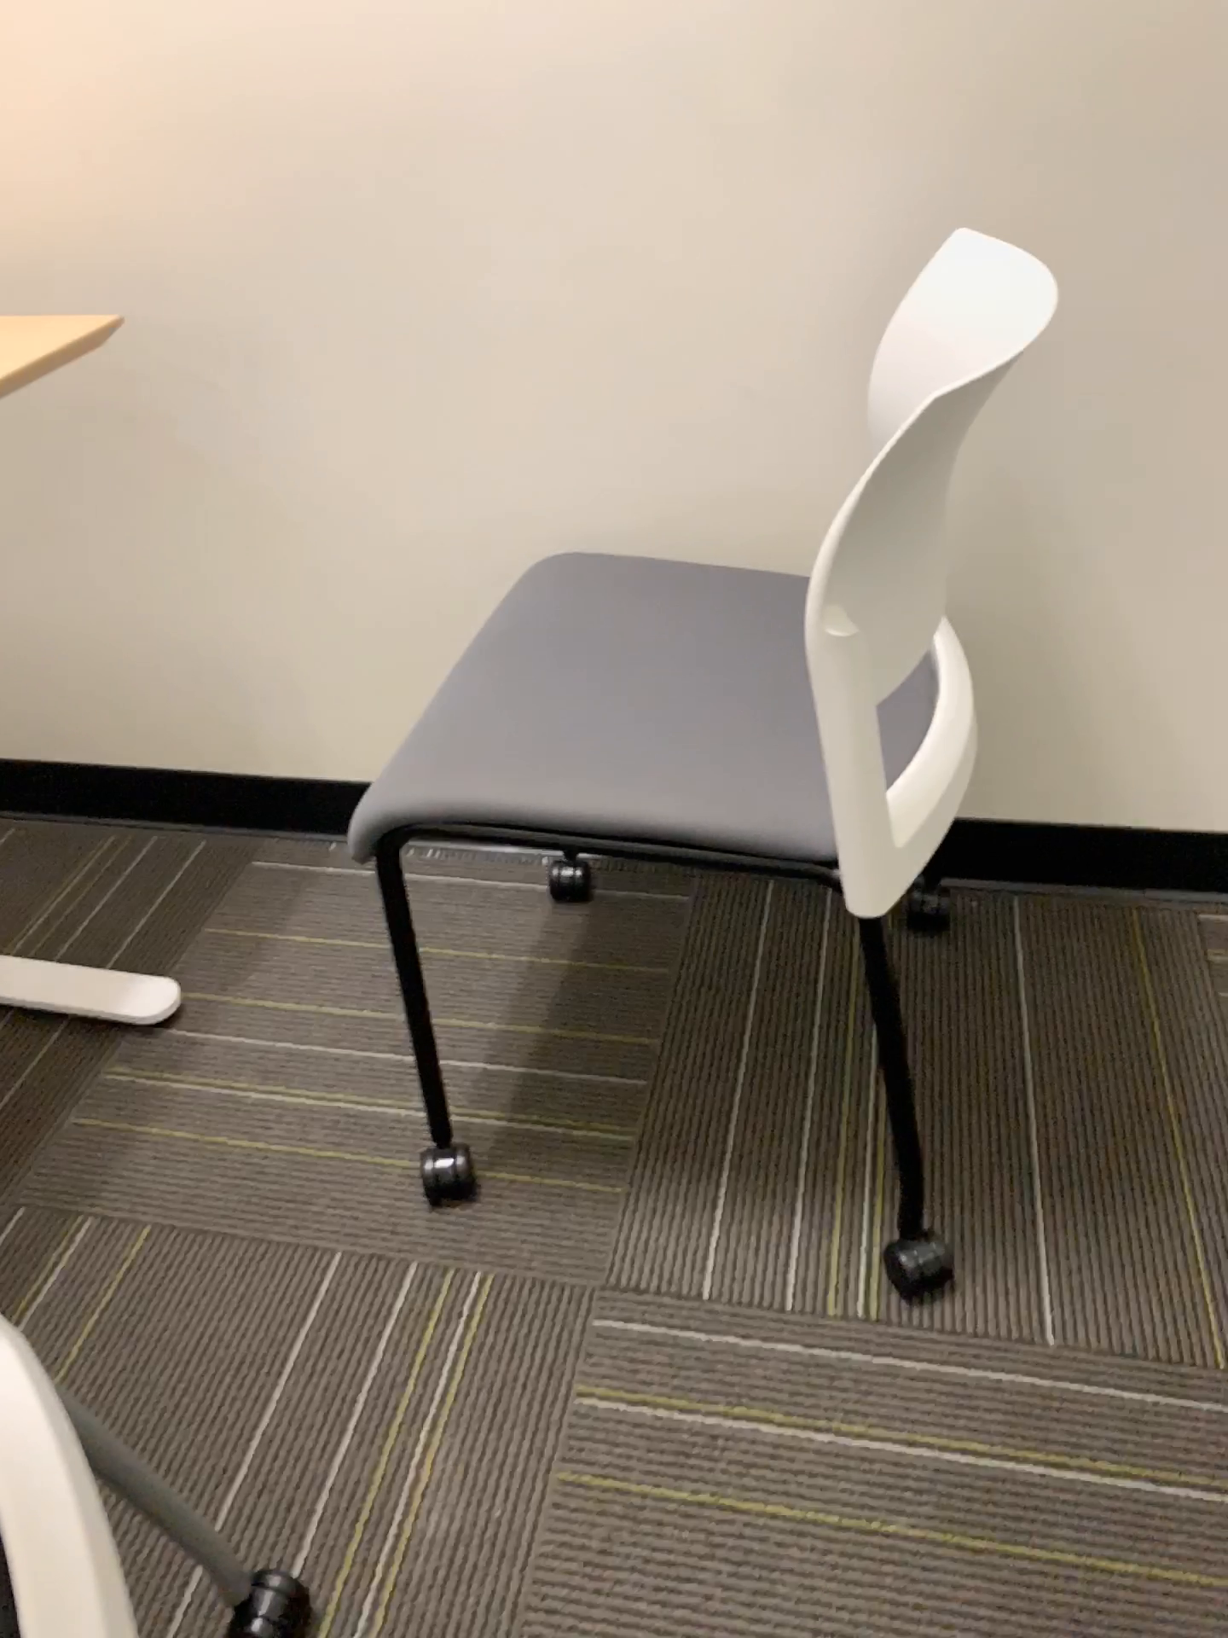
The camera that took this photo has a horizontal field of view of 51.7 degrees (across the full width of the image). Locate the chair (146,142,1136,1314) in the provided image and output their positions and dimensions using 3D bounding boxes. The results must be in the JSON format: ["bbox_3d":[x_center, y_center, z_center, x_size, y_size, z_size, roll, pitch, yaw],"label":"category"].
[{"bbox_3d":[0.081,-0.104,1.145,0.541,0.805,0.603,5,36,12],"label":"chair"}]
